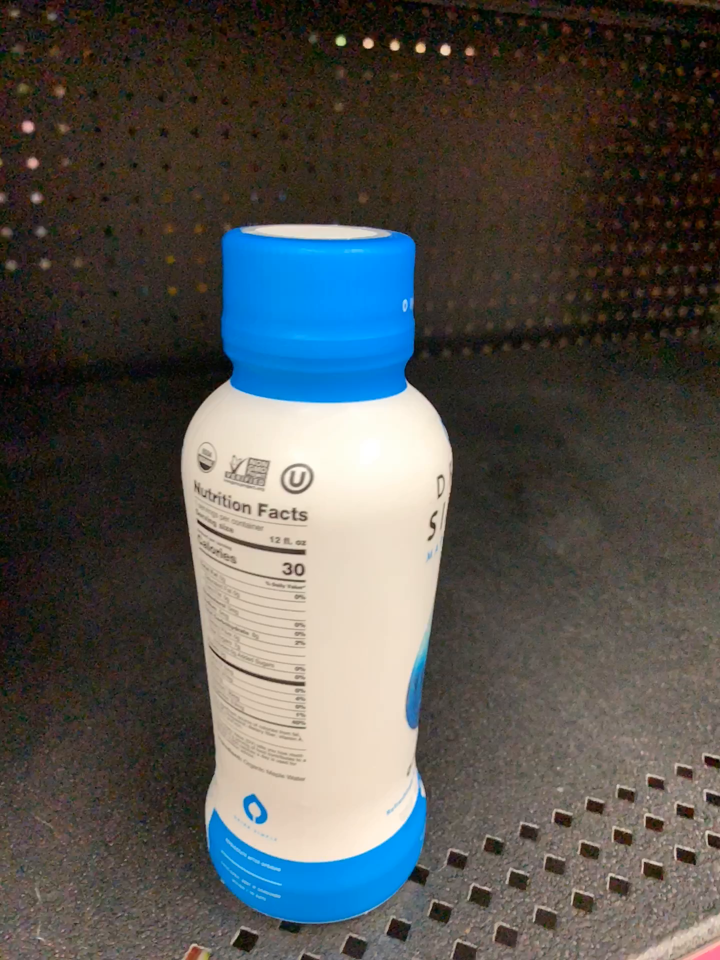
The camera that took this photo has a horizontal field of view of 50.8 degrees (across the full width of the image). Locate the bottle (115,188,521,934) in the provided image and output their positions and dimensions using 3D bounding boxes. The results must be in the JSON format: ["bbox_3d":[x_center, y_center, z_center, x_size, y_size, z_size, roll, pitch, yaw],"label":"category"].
[{"bbox_3d":[-0.009,0.021,0.189,0.065,0.169,0.070,2,24,-1],"label":"bottle"}]
